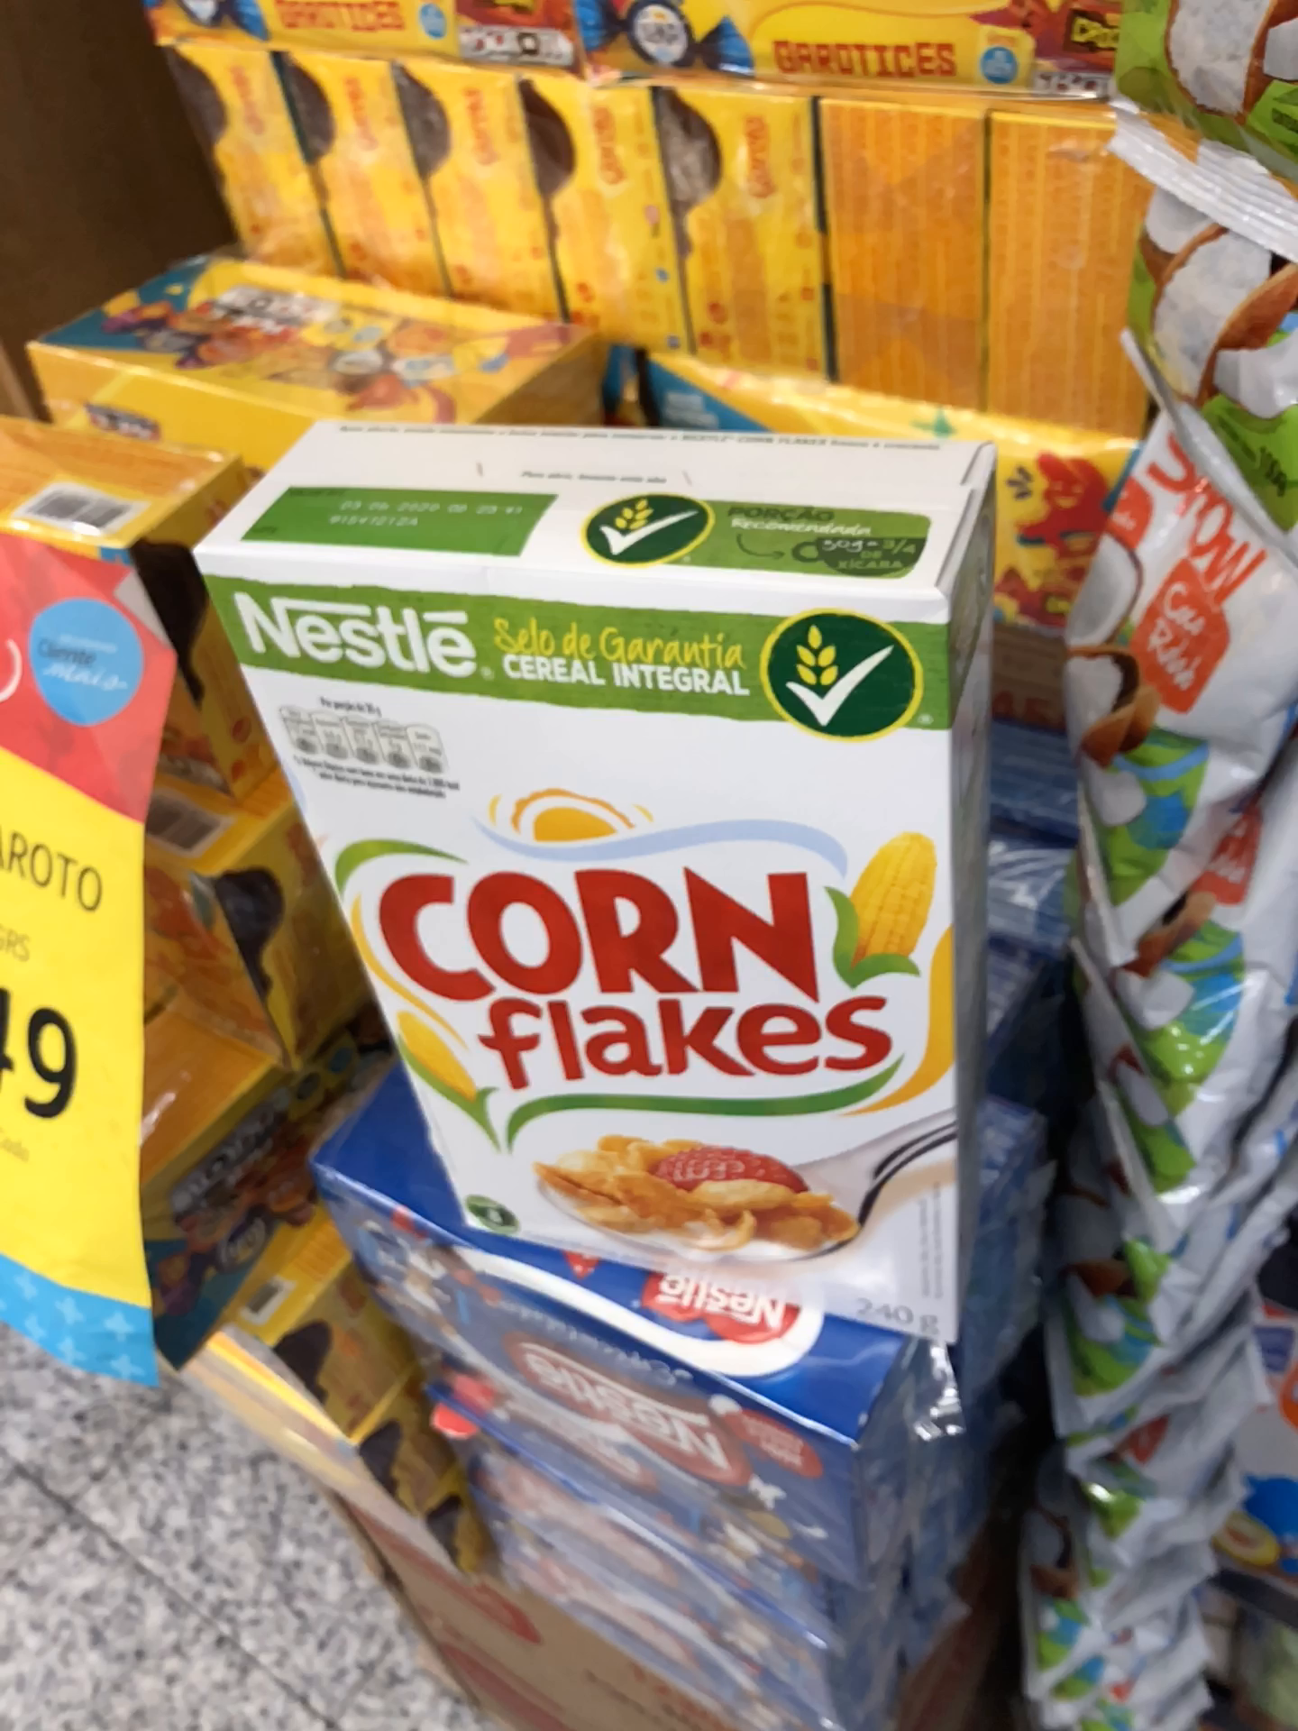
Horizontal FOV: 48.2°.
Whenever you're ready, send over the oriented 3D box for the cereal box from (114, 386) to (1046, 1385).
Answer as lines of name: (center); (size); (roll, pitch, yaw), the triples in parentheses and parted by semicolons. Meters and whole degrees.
cereal box: (-0.001, 0.017, 0.360); (0.170, 0.248, 0.060); (9, 45, 19)
